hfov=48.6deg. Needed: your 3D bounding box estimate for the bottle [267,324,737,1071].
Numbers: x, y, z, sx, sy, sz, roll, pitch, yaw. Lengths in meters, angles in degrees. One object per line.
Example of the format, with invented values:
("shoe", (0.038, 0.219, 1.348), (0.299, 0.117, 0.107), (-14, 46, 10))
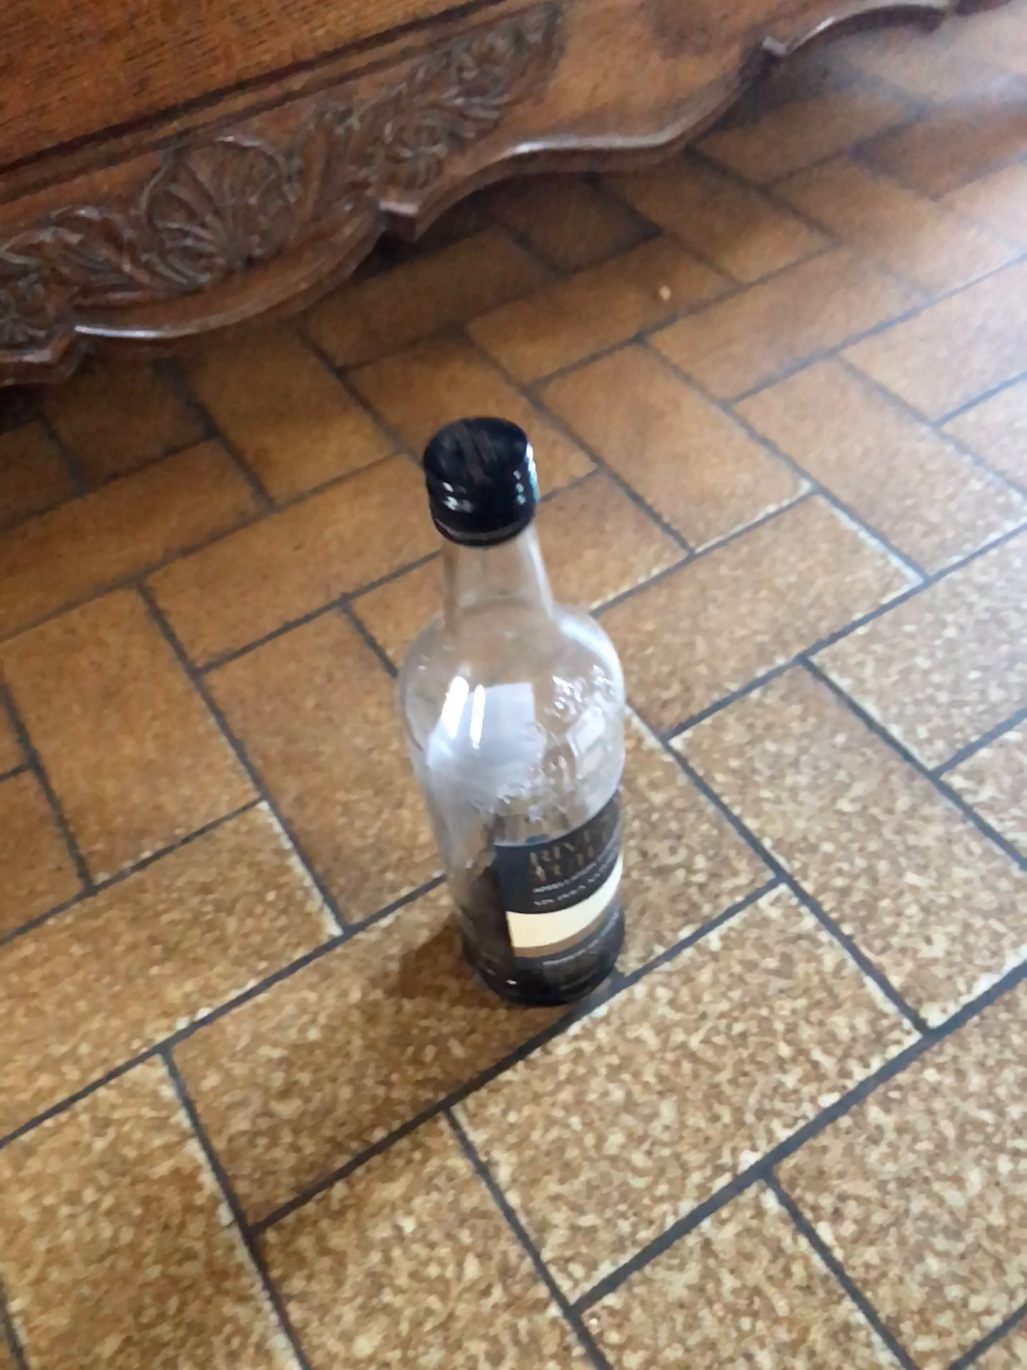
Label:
("bottle", (0.008, 0.031, 0.424), (0.090, 0.298, 0.090), (-3, 53, 3))
